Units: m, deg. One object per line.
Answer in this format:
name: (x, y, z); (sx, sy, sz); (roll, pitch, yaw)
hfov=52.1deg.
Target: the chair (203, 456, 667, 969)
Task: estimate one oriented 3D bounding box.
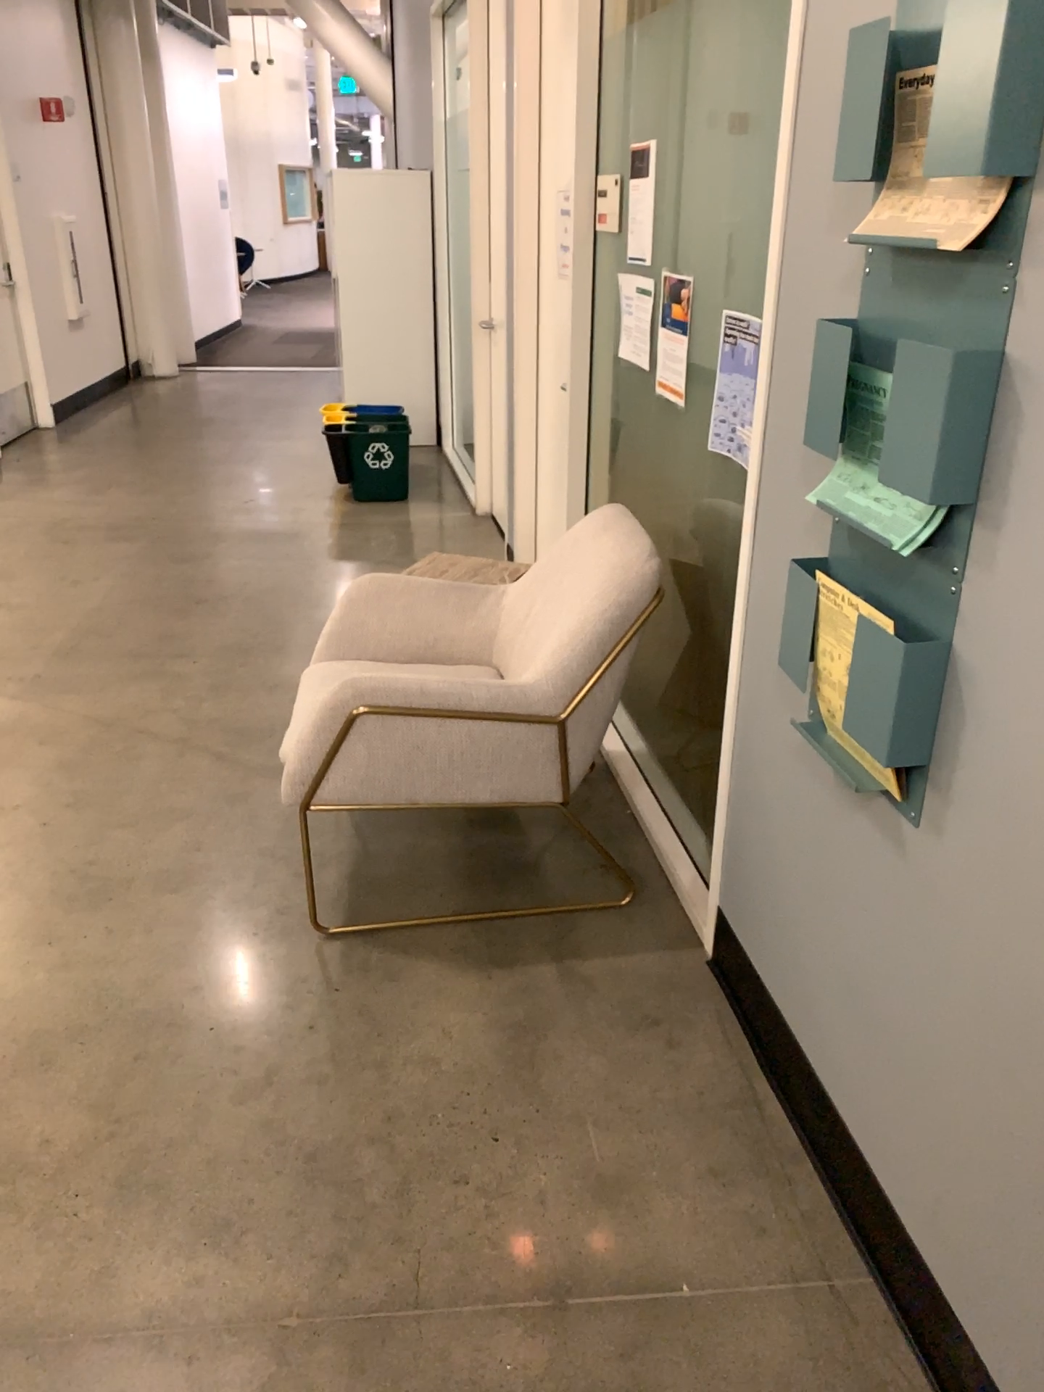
chair: (-0.208, -0.013, 2.549); (0.870, 0.925, 0.784); (-3, 25, -7)
